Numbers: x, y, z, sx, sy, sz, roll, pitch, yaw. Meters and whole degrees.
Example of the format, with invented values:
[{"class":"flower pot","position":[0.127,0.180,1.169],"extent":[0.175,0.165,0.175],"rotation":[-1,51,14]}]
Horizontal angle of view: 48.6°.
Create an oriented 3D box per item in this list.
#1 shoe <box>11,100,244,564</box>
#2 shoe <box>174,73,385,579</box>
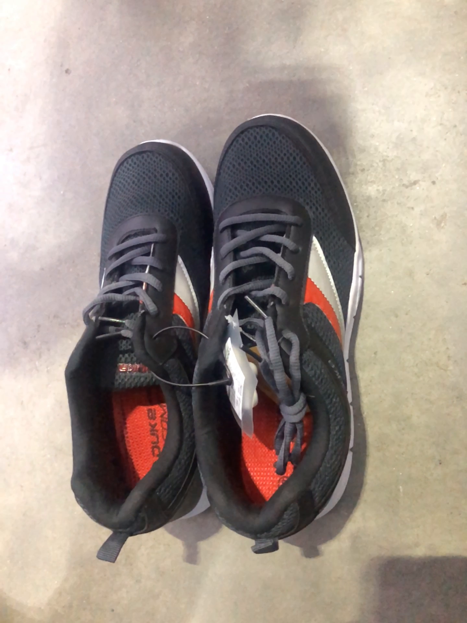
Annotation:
[{"class":"shoe","position":[-0.071,0.015,0.364],"extent":[0.110,0.100,0.270],"rotation":[-7,84,18]},{"class":"shoe","position":[0.034,0.008,0.340],"extent":[0.110,0.100,0.270],"rotation":[-3,85,18]}]
